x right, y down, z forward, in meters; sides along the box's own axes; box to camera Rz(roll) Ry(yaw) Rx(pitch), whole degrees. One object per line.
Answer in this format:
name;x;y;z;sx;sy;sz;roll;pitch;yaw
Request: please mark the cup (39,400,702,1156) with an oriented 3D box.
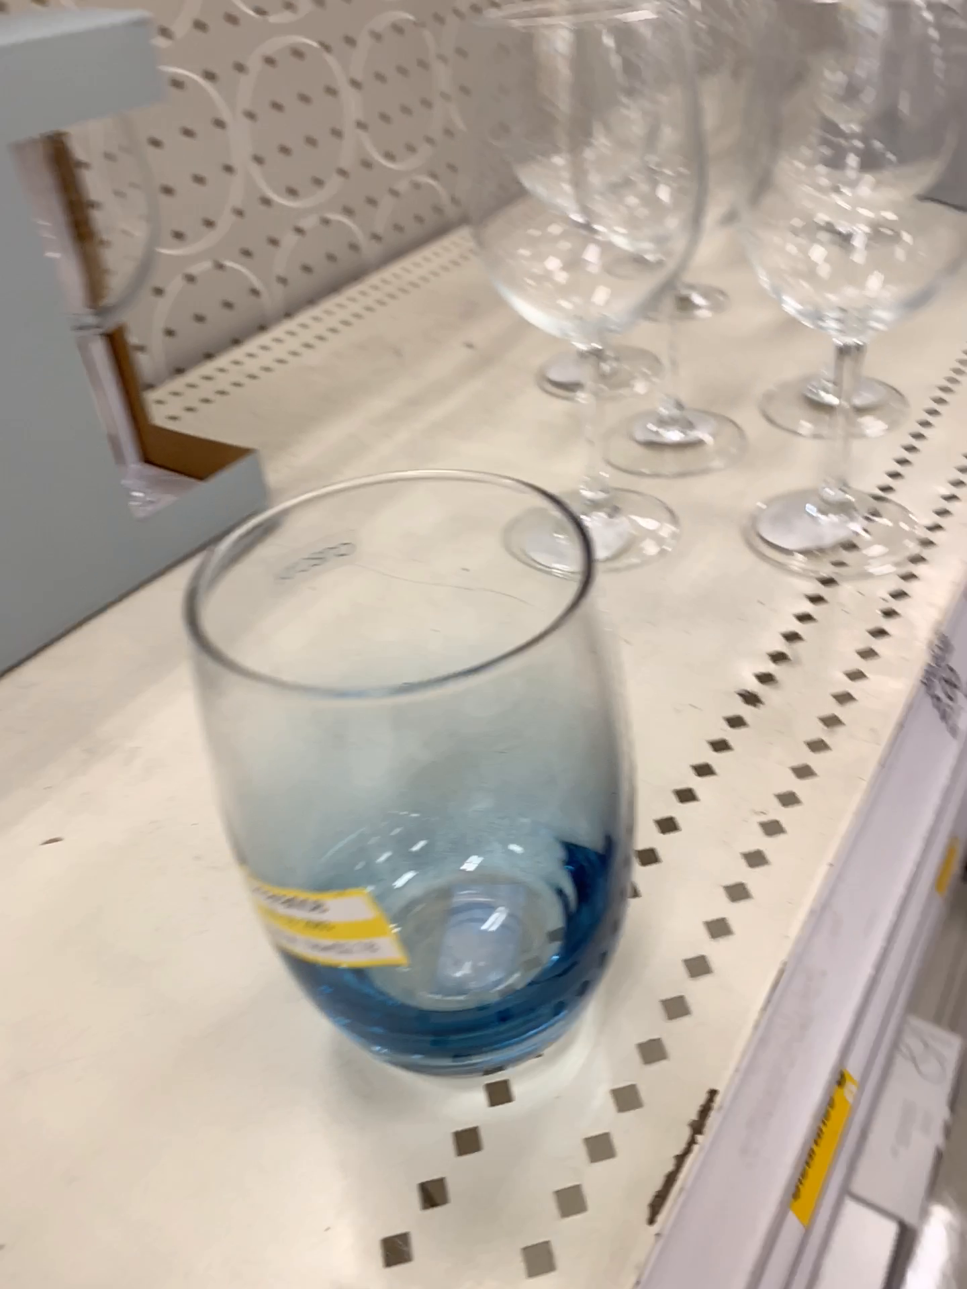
cup;-0.008;0.026;0.204;0.090;0.119;0.091;-3;37;3
